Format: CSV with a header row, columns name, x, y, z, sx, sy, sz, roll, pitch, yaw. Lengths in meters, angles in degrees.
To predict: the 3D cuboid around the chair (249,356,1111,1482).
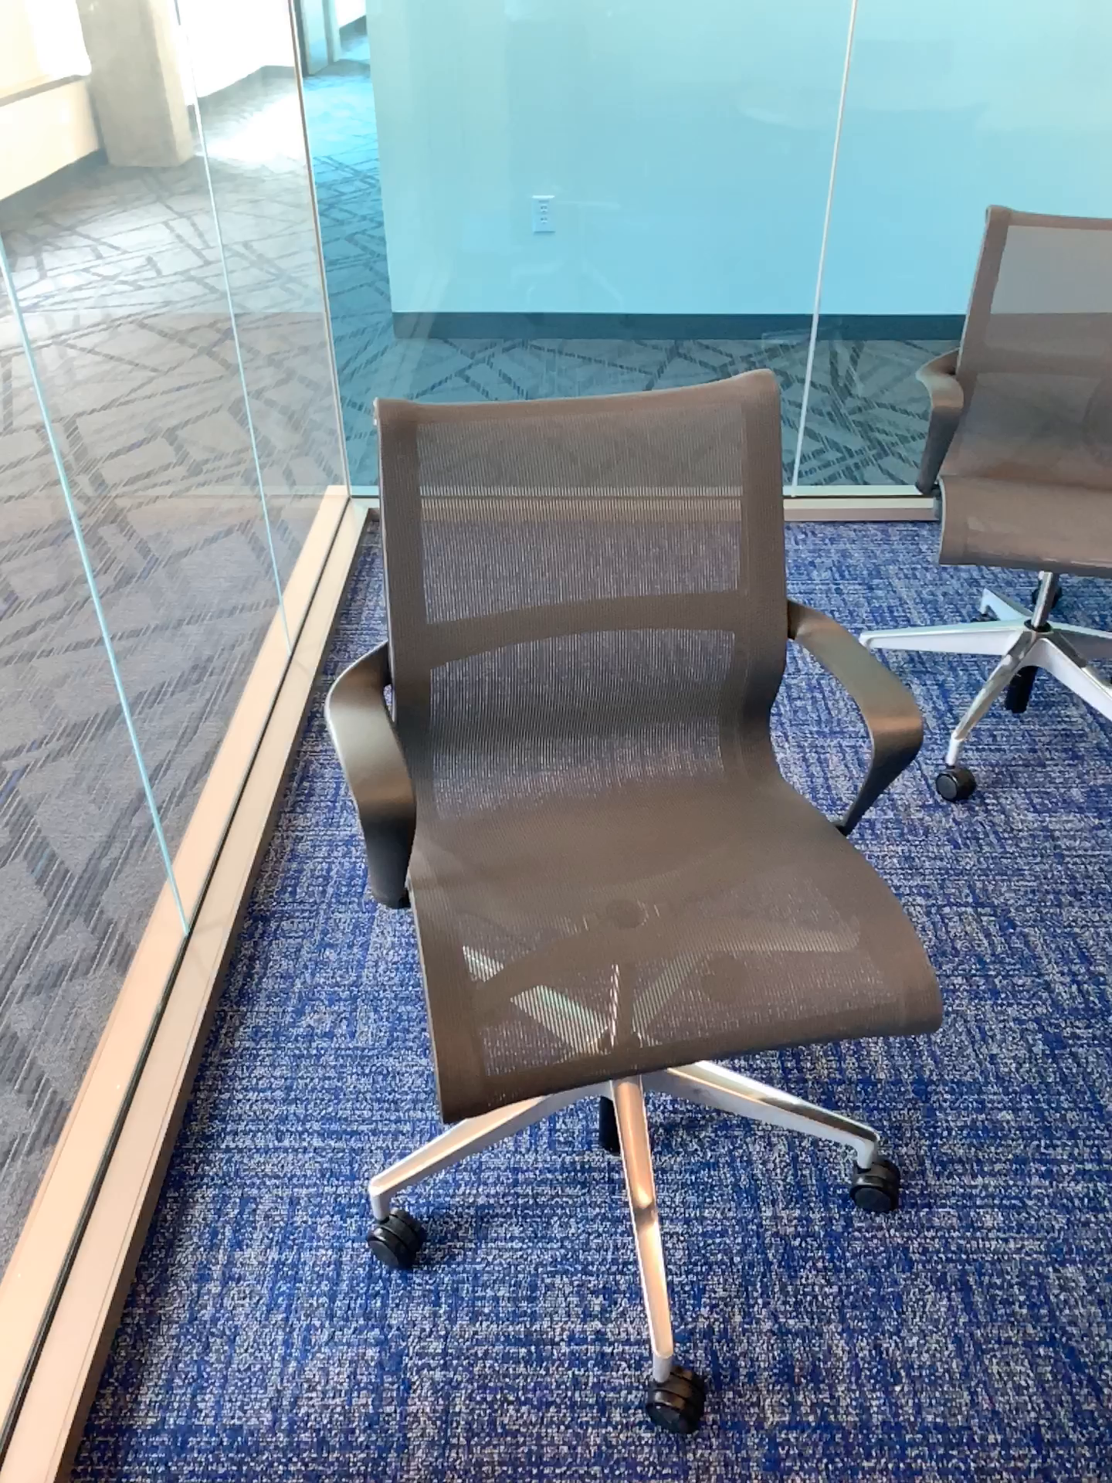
name,x,y,z,sx,sy,sz,roll,pitch,yaw
chair,0.107,0.132,1.097,0.660,0.773,0.645,-8,34,-11
